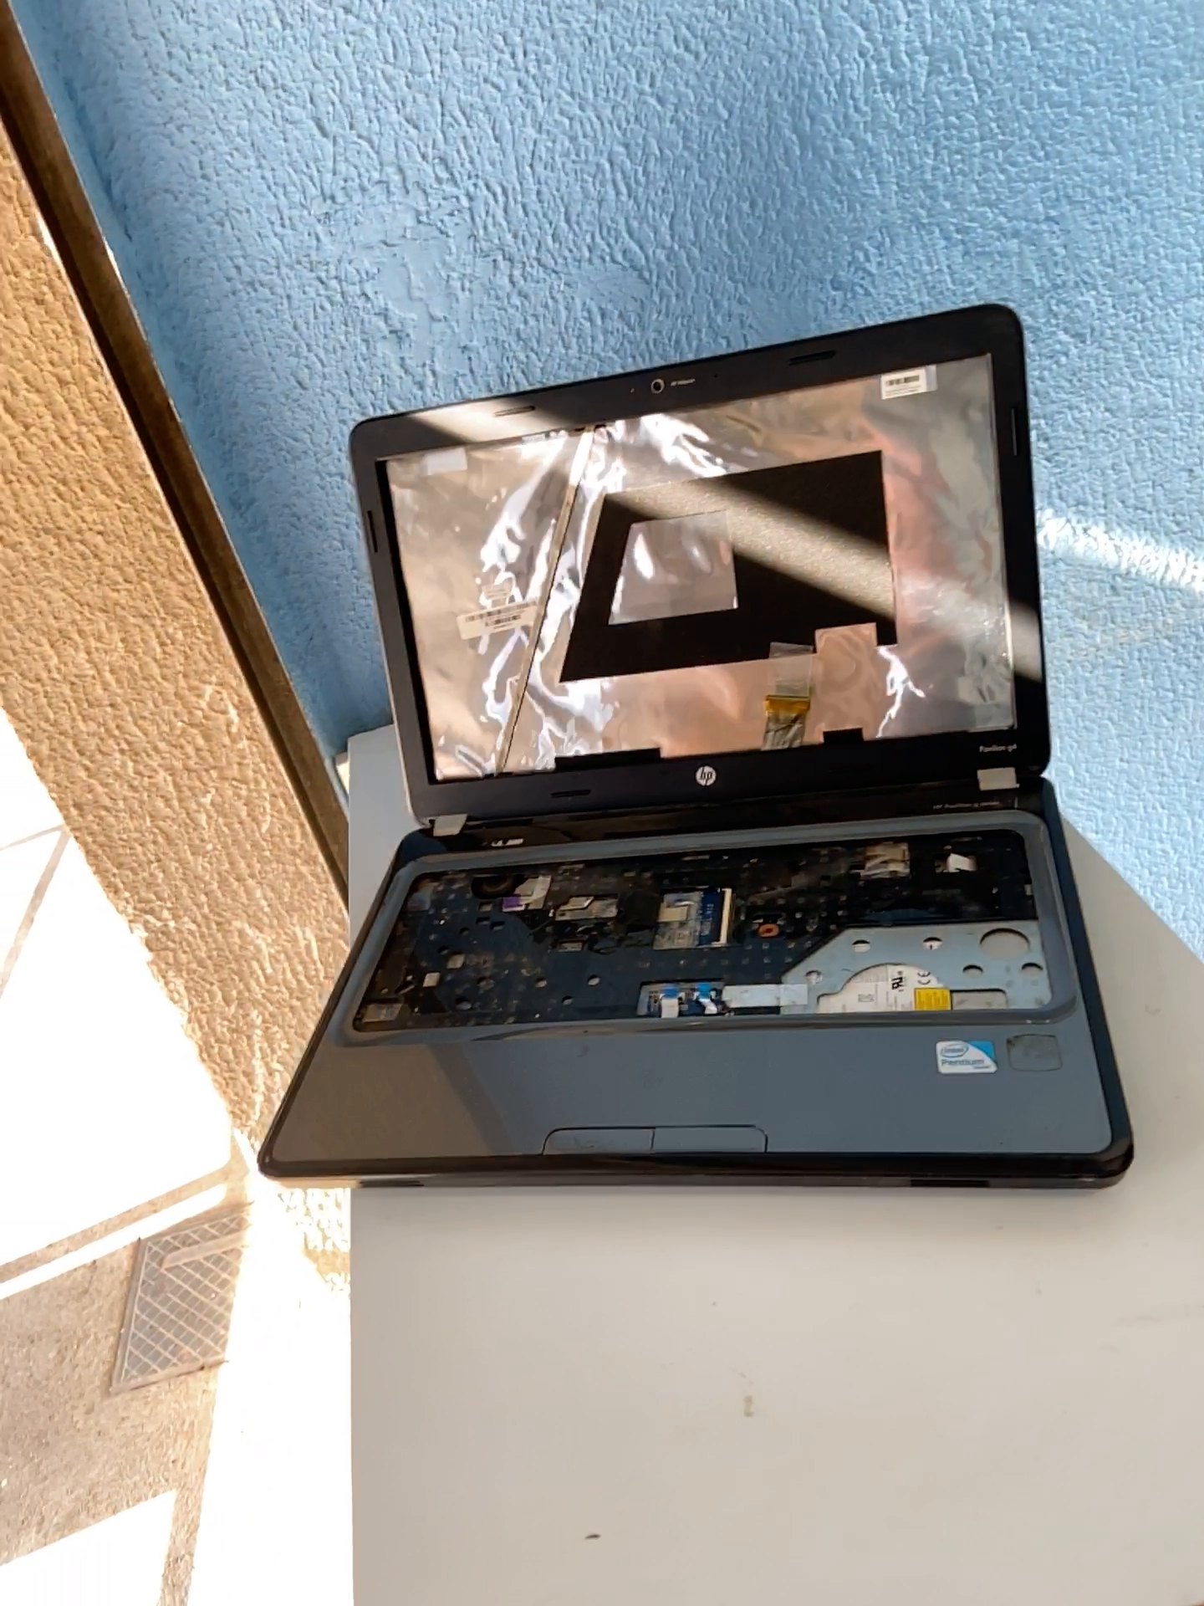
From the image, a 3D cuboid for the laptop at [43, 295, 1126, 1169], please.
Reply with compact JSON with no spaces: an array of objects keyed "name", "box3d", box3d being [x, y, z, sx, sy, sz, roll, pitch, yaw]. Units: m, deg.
[{"name":"laptop","box3d":[0.023,-0.041,0.541,0.335,0.194,0.325,-5,35,16]}]
